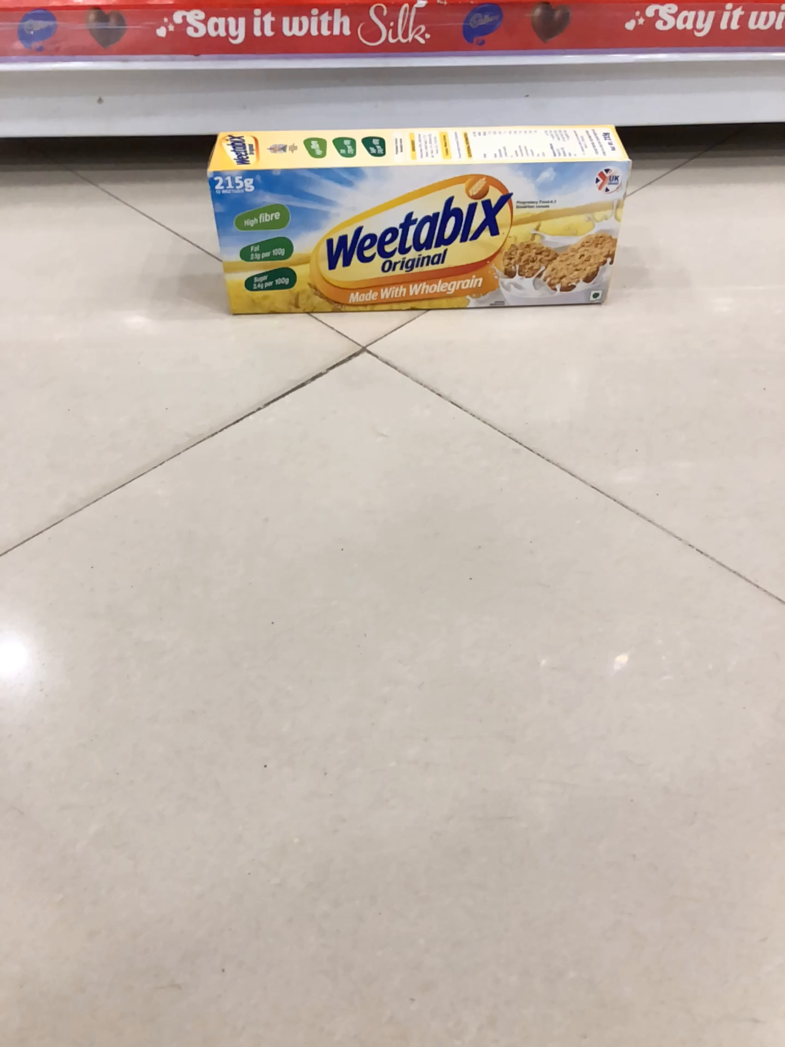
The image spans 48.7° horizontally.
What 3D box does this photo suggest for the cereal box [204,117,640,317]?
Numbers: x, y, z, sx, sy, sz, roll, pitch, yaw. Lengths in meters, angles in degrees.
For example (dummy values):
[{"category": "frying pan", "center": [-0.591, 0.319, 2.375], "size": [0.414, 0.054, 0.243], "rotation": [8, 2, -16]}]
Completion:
[{"category": "cereal box", "center": [0.017, -0.195, 0.554], "size": [0.250, 0.099, 0.060], "rotation": [-2, 46, -1]}]
